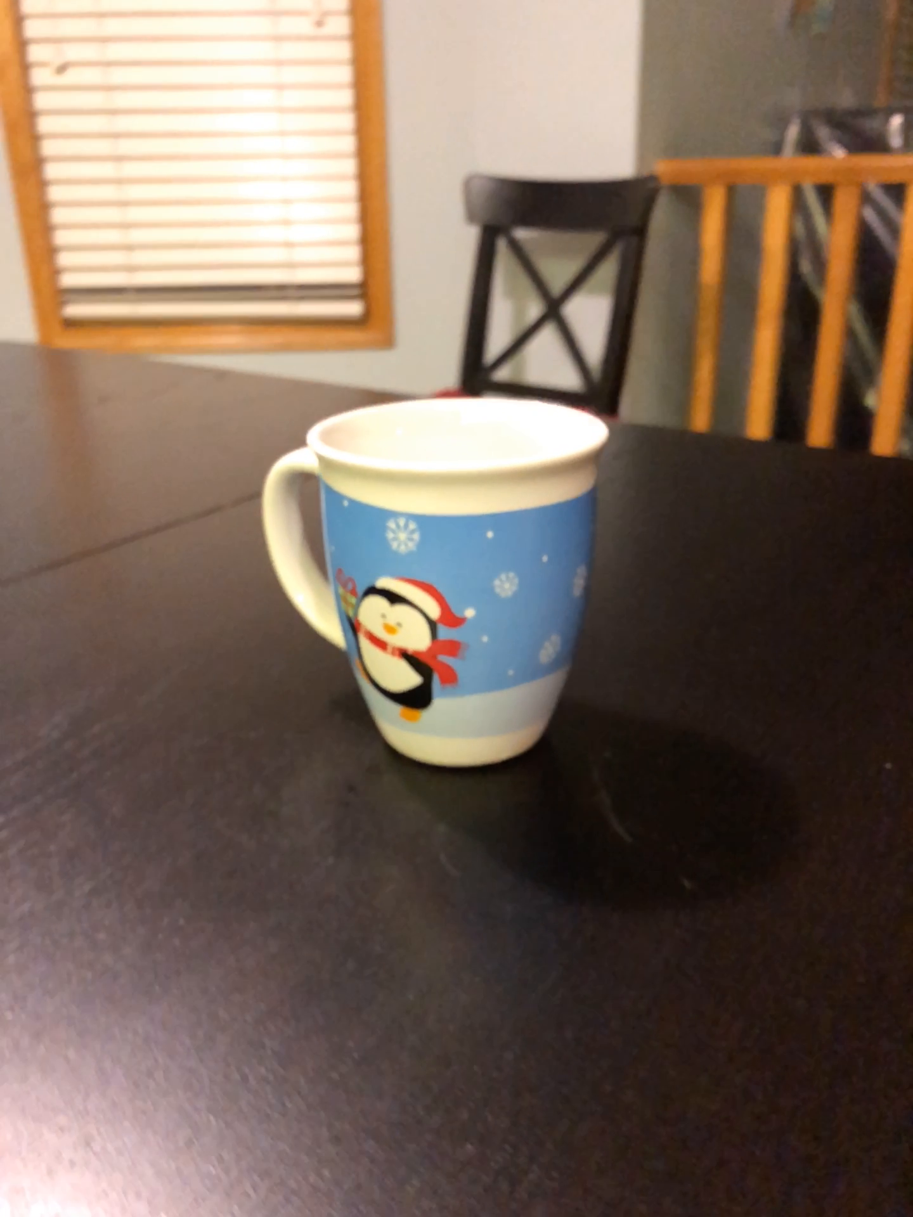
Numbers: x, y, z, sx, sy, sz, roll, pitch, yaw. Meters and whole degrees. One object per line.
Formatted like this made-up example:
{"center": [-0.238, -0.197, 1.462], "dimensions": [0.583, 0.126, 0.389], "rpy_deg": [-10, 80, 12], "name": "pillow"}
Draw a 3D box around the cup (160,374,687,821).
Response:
{"center": [-0.011, -0.016, 0.355], "dimensions": [0.140, 0.100, 0.100], "rpy_deg": [15, 27, 34], "name": "cup"}
